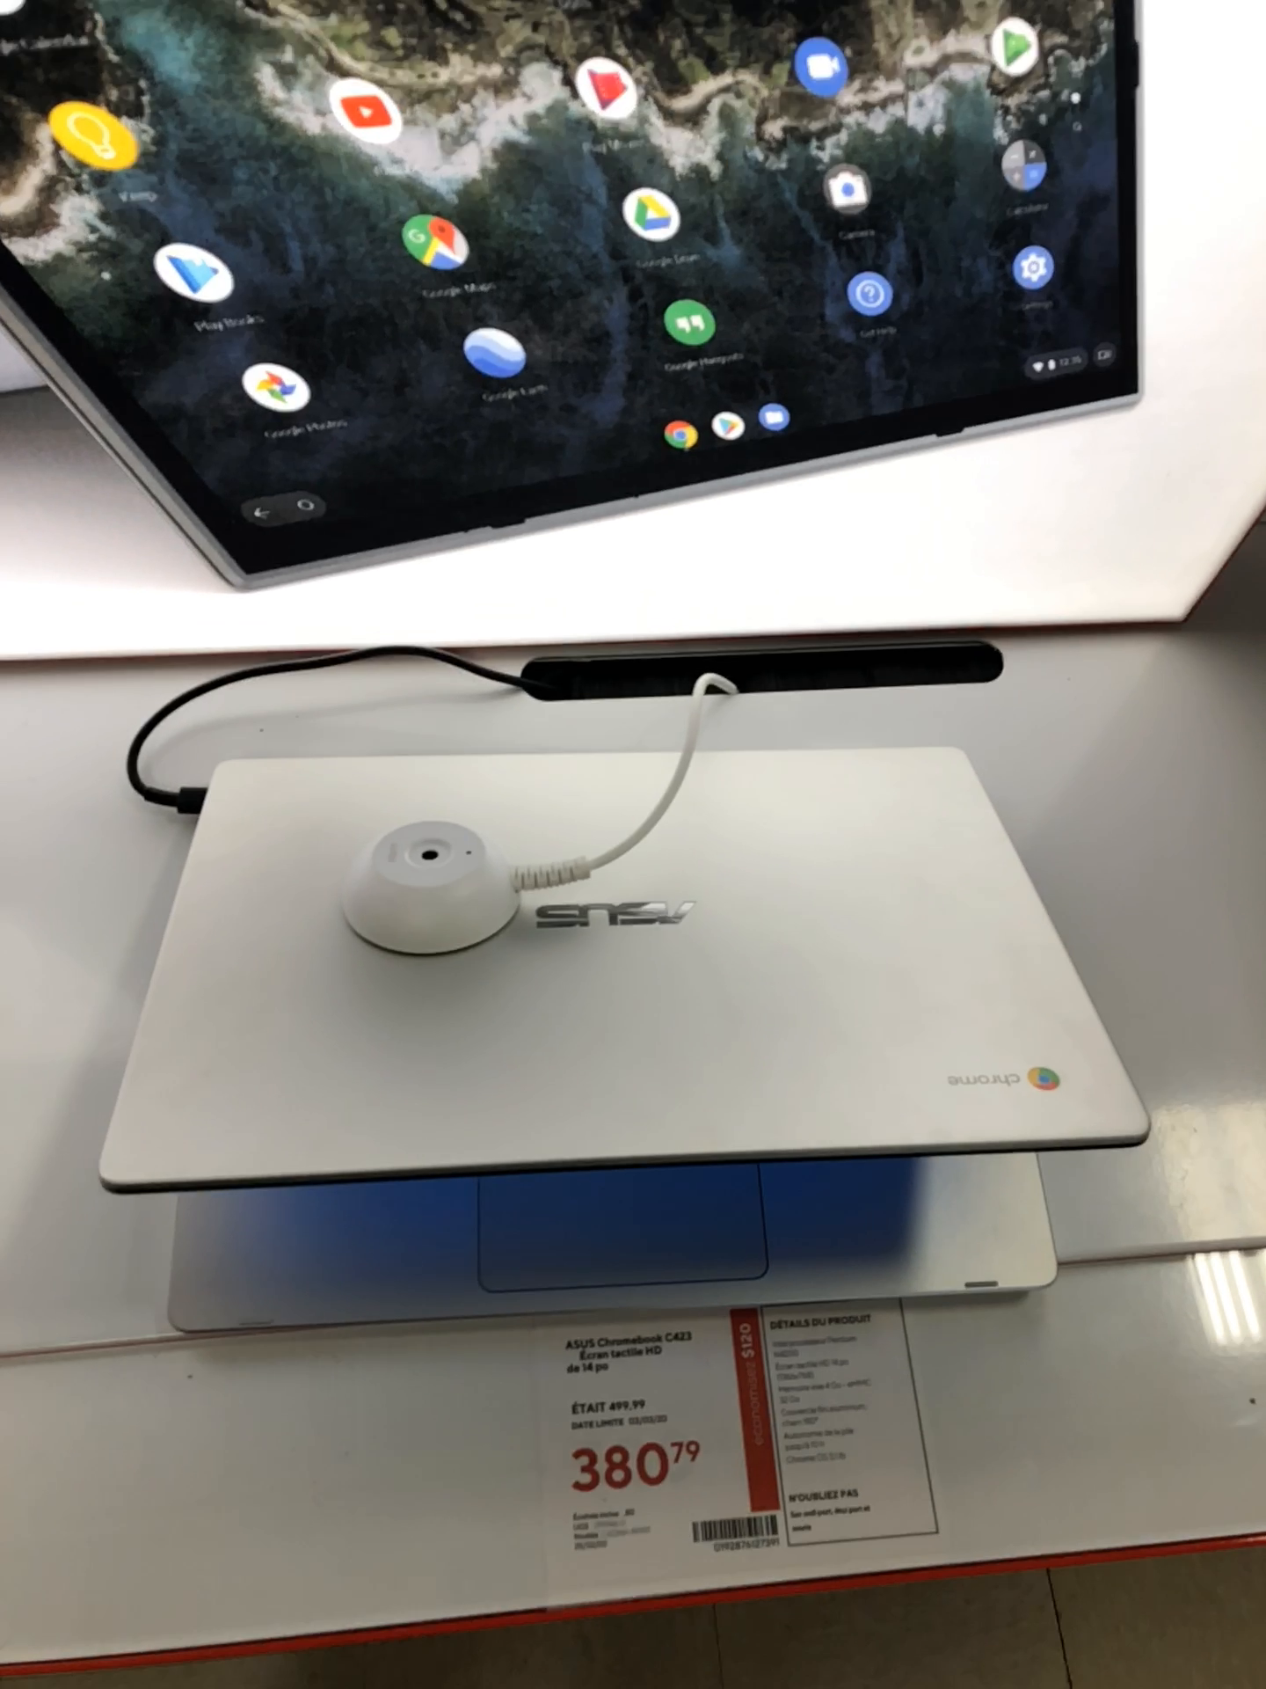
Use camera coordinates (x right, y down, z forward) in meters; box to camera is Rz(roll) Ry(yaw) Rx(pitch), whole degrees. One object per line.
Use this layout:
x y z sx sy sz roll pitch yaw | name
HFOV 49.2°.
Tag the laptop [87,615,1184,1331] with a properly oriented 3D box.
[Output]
-0.003 0.040 0.495 0.317 0.101 0.225 -1 62 -5 | laptop
